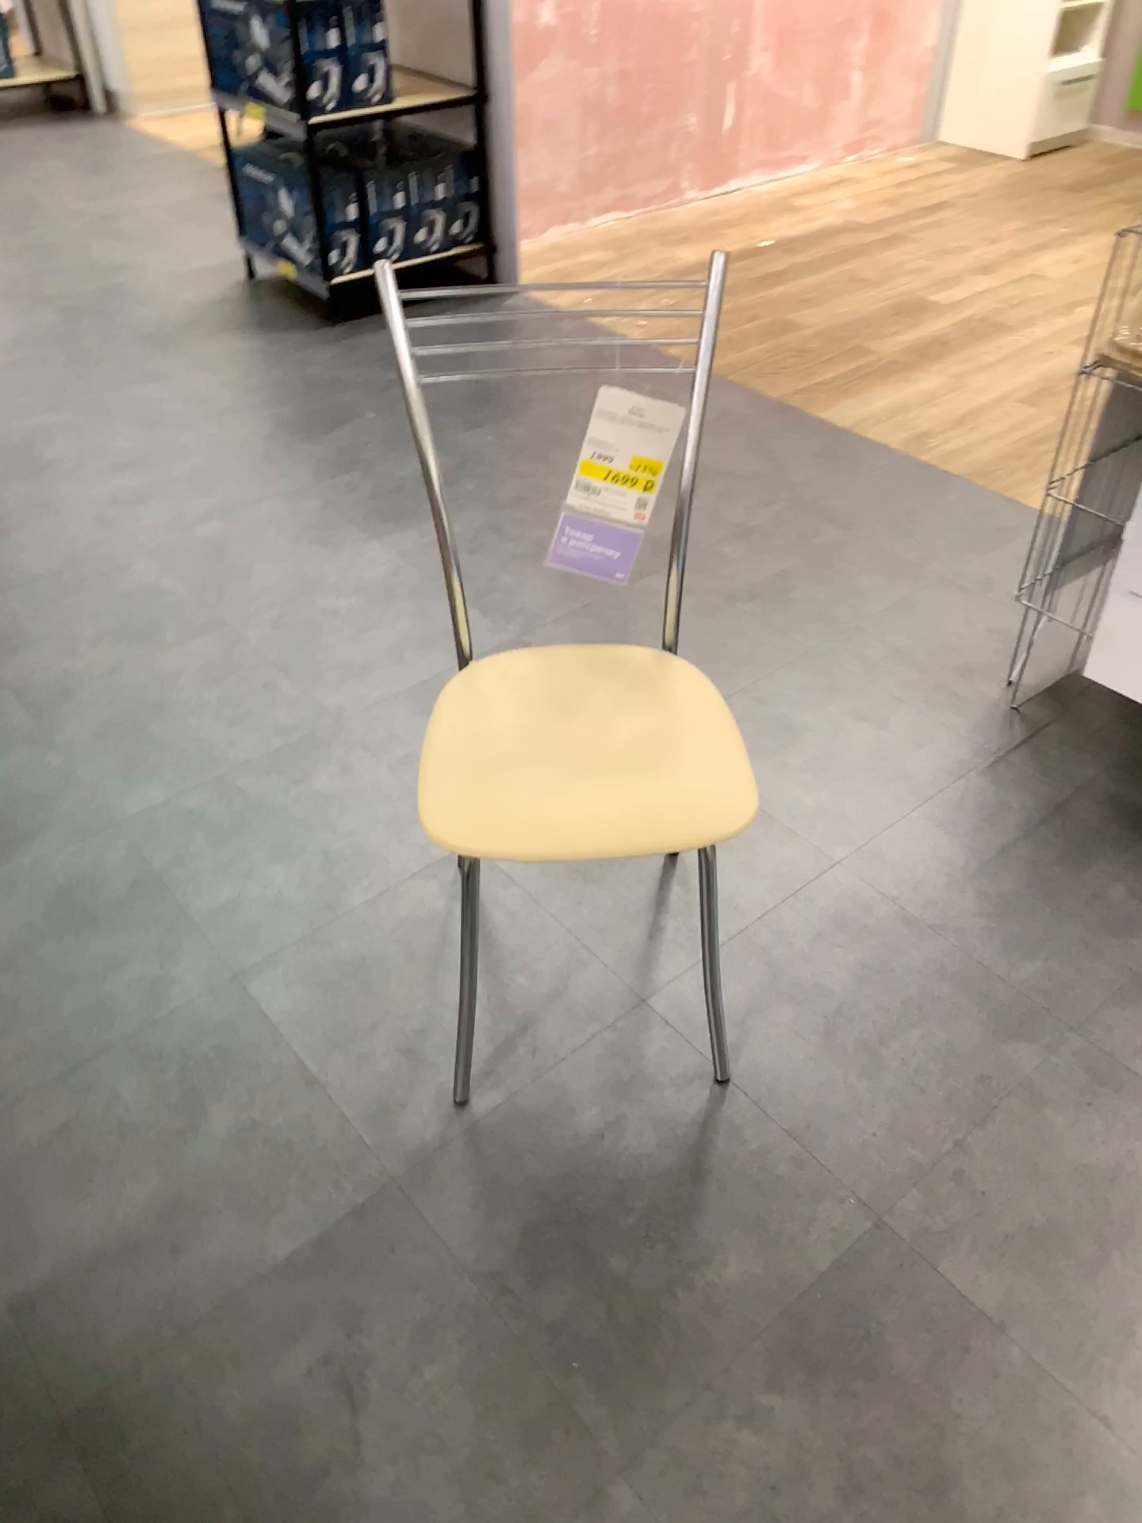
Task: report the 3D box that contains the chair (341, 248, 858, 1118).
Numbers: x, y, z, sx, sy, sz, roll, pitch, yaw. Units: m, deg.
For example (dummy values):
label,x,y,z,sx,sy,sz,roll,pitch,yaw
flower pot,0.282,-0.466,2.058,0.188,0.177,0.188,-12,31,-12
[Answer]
label,x,y,z,sx,sy,sz,roll,pitch,yaw
chair,0.004,-0.060,1.389,0.410,0.904,0.483,-3,40,-4
